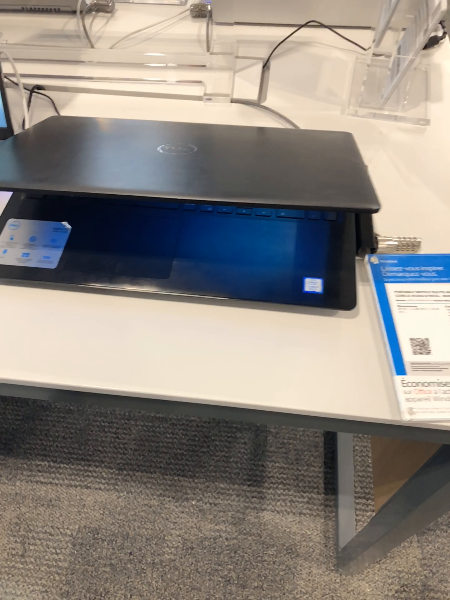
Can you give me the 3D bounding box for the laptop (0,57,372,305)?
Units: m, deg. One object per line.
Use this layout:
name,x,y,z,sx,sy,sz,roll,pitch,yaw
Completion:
laptop,-0.048,-0.133,0.506,0.365,0.080,0.245,6,54,4
